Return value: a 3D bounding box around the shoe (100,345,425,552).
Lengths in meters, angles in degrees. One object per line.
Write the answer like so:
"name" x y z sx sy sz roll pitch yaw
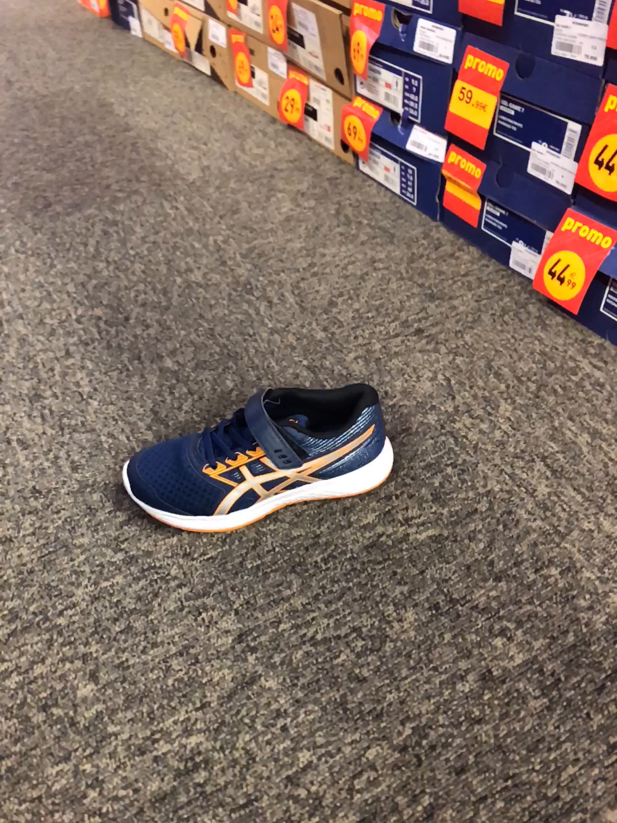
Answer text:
"shoe" -0.037 0.028 0.553 0.235 0.099 0.090 -8 44 -8
